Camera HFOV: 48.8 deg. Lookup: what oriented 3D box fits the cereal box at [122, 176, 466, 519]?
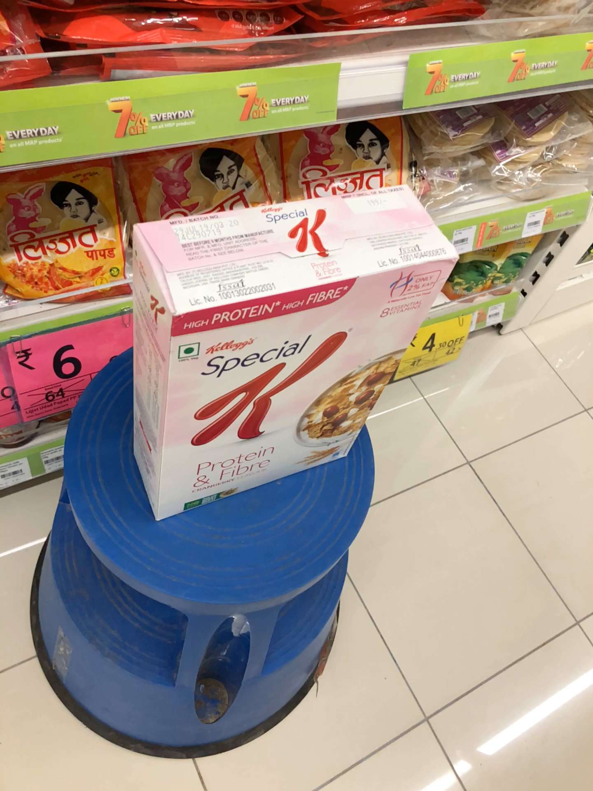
[{"bbox_3d":[-0.021,-0.020,0.461,0.181,0.249,0.070,-15,62,-22],"label":"cereal box"}]
